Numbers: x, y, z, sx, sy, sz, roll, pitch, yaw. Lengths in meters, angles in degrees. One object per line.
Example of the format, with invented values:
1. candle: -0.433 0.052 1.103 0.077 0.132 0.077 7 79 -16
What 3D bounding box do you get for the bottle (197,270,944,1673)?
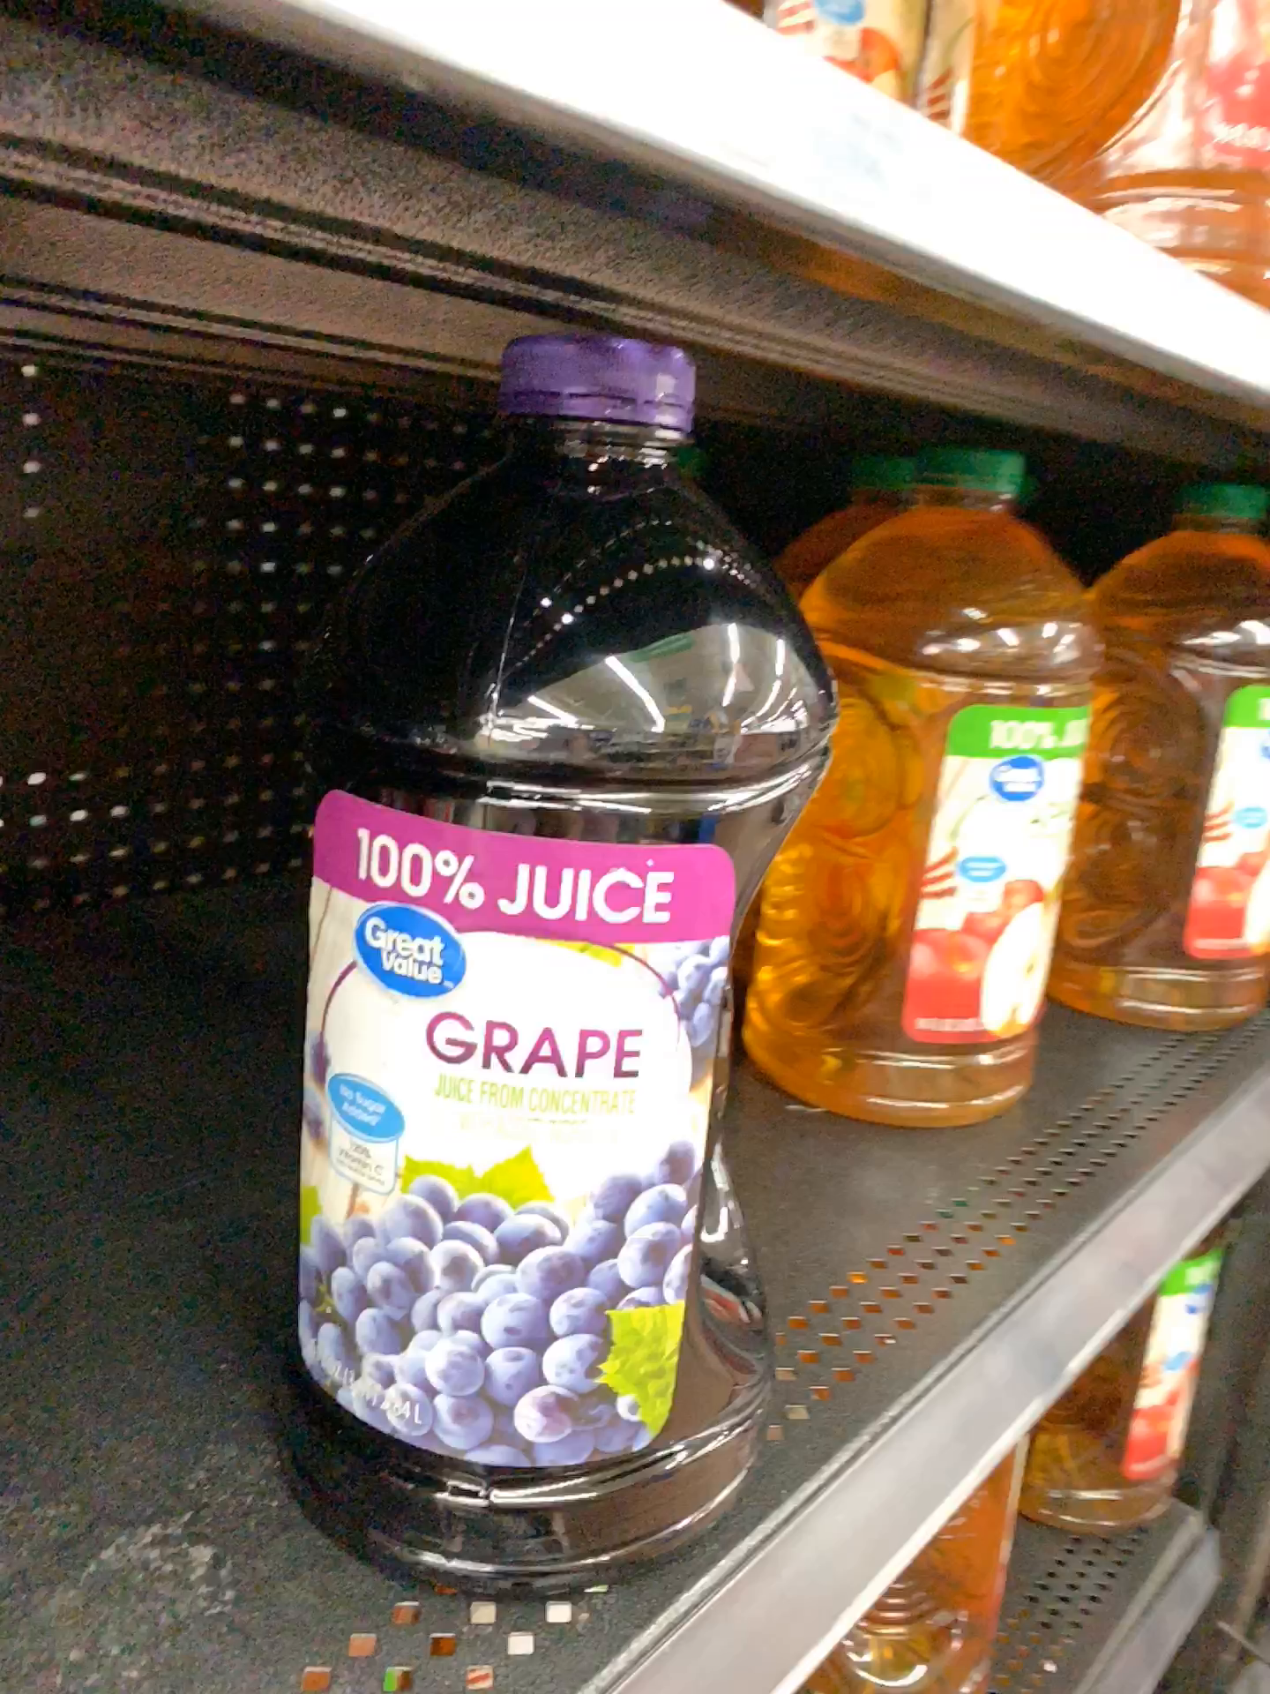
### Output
1. bottle: -0.013 0.021 0.330 0.130 0.279 0.140 6 15 -2
